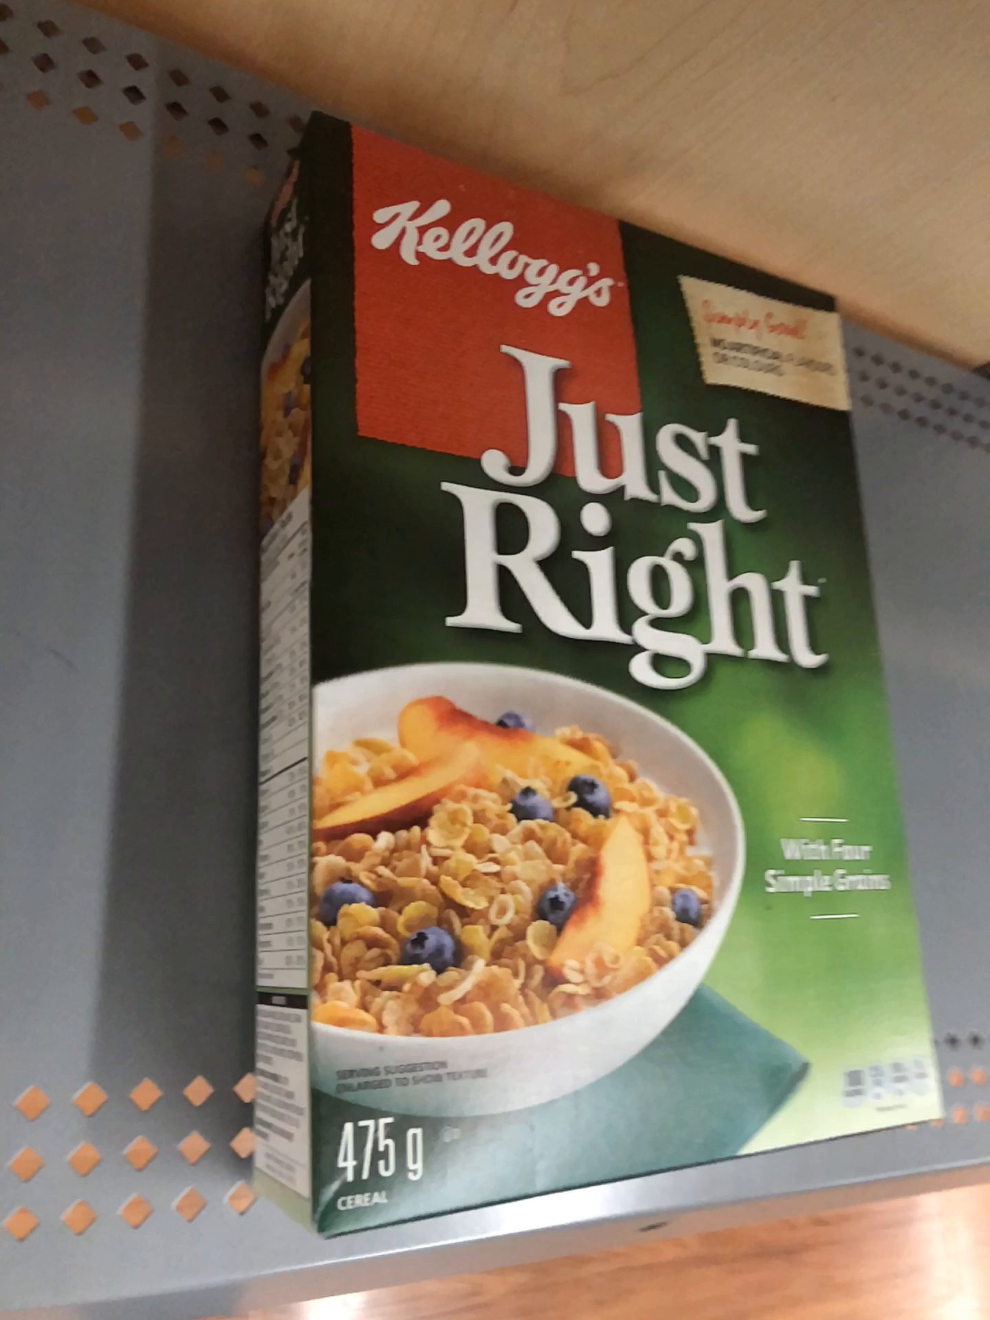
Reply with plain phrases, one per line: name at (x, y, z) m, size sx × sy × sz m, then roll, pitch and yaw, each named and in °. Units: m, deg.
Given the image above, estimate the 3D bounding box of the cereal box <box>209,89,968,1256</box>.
cereal box at (0.026, 0.000, 0.320) m, size 0.201 × 0.060 × 0.270 m, roll 6°, pitch 73°, yaw -30°
